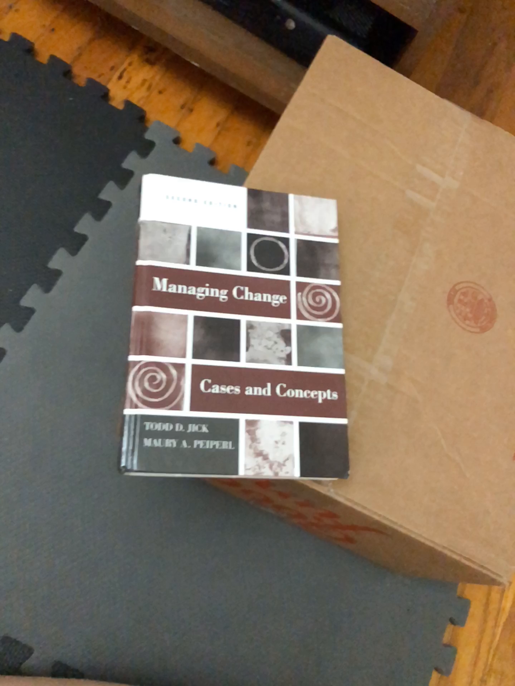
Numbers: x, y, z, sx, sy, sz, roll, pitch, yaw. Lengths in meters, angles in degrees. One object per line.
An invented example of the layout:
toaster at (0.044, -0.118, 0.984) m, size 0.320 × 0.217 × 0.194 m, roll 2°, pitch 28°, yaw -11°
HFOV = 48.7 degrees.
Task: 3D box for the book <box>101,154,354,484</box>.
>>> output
book at (-0.020, -0.020, 0.450) m, size 0.180 × 0.030 × 0.250 m, roll 5°, pitch 71°, yaw -14°
